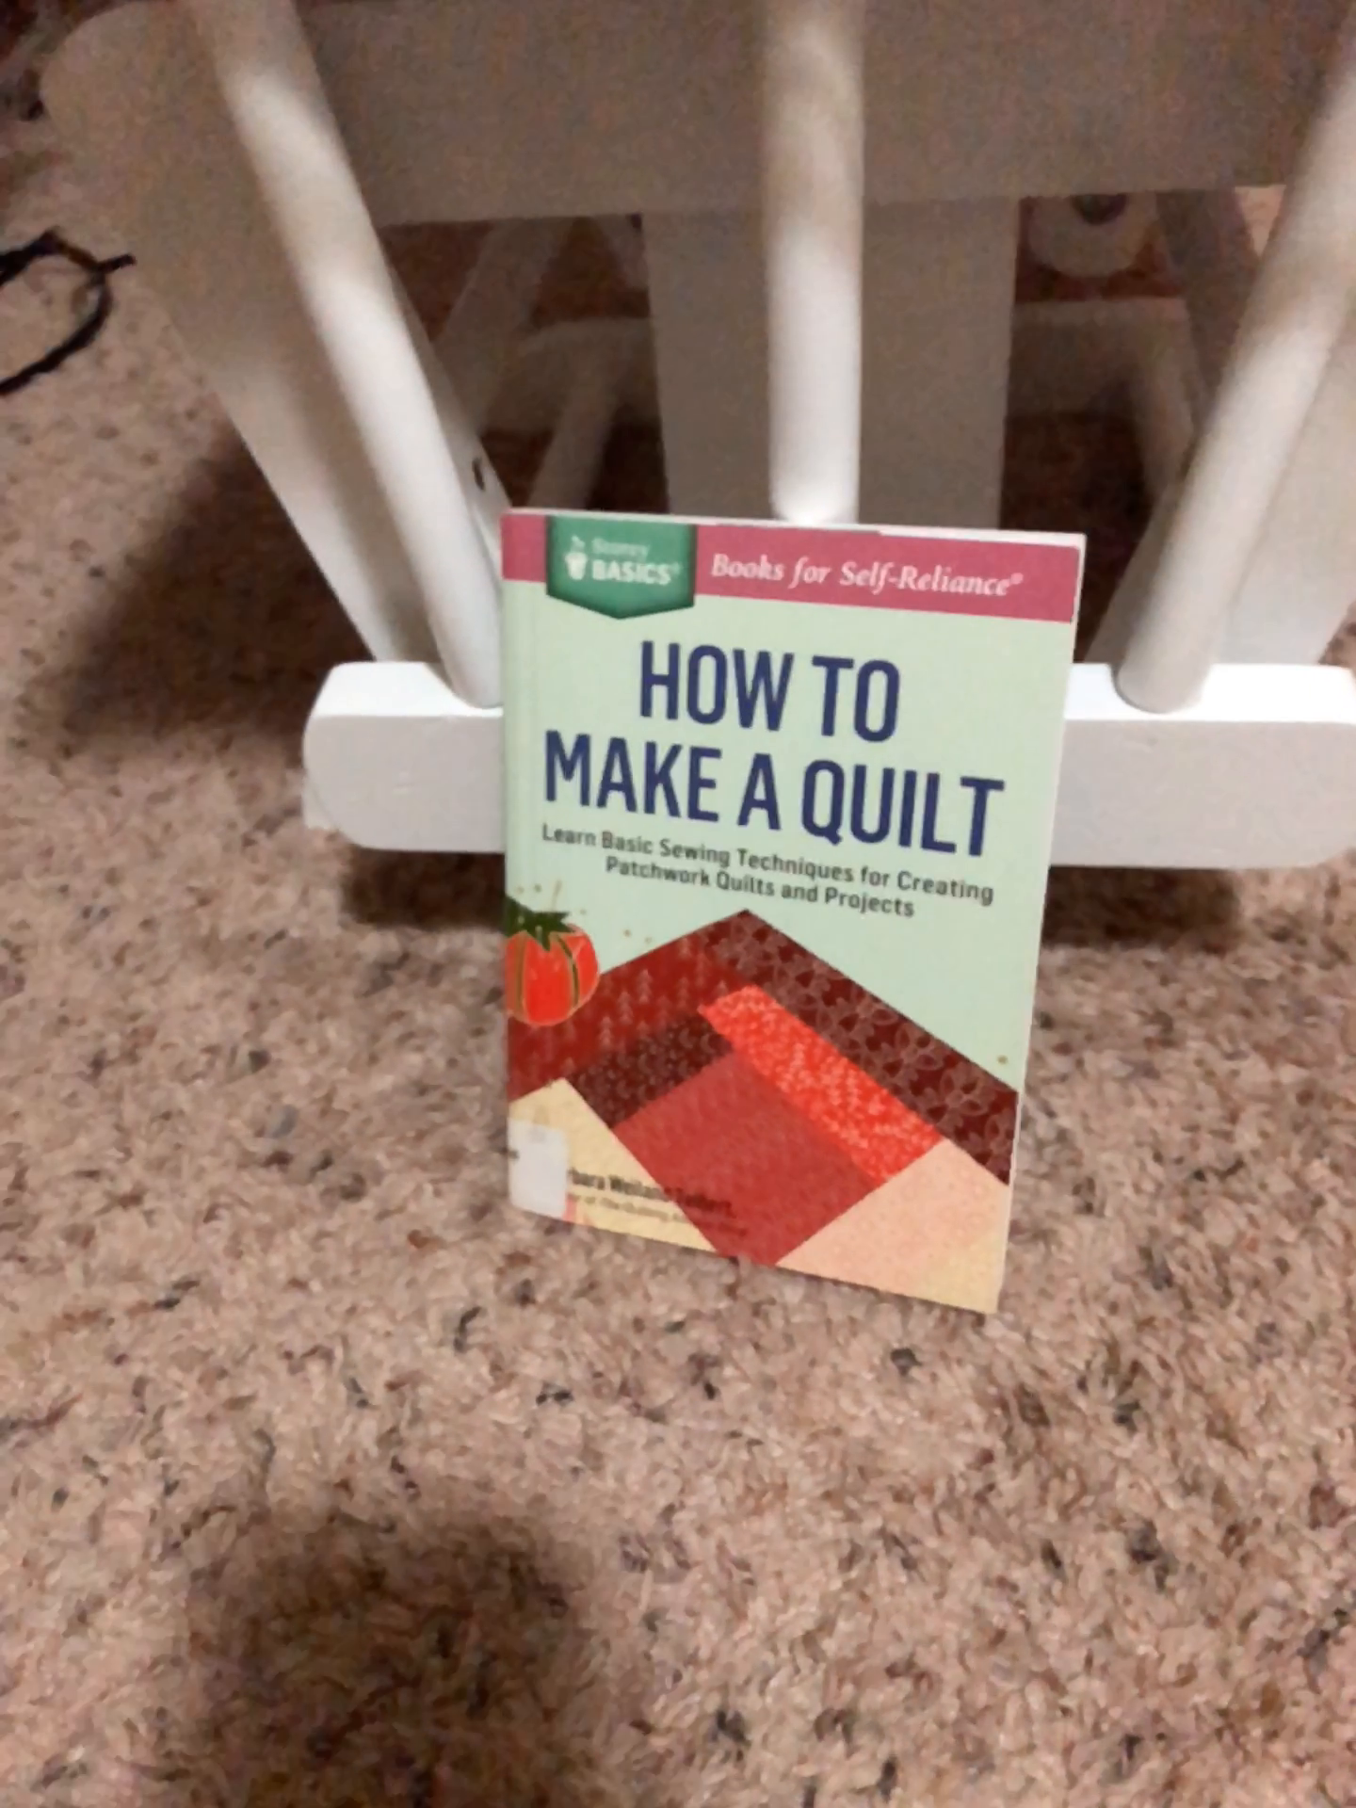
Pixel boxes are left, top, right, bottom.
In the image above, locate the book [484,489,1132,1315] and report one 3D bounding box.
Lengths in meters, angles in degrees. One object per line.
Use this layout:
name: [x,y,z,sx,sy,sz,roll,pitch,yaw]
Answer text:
book: [0.021,-0.001,0.336,0.130,0.168,0.020,8,19,16]
